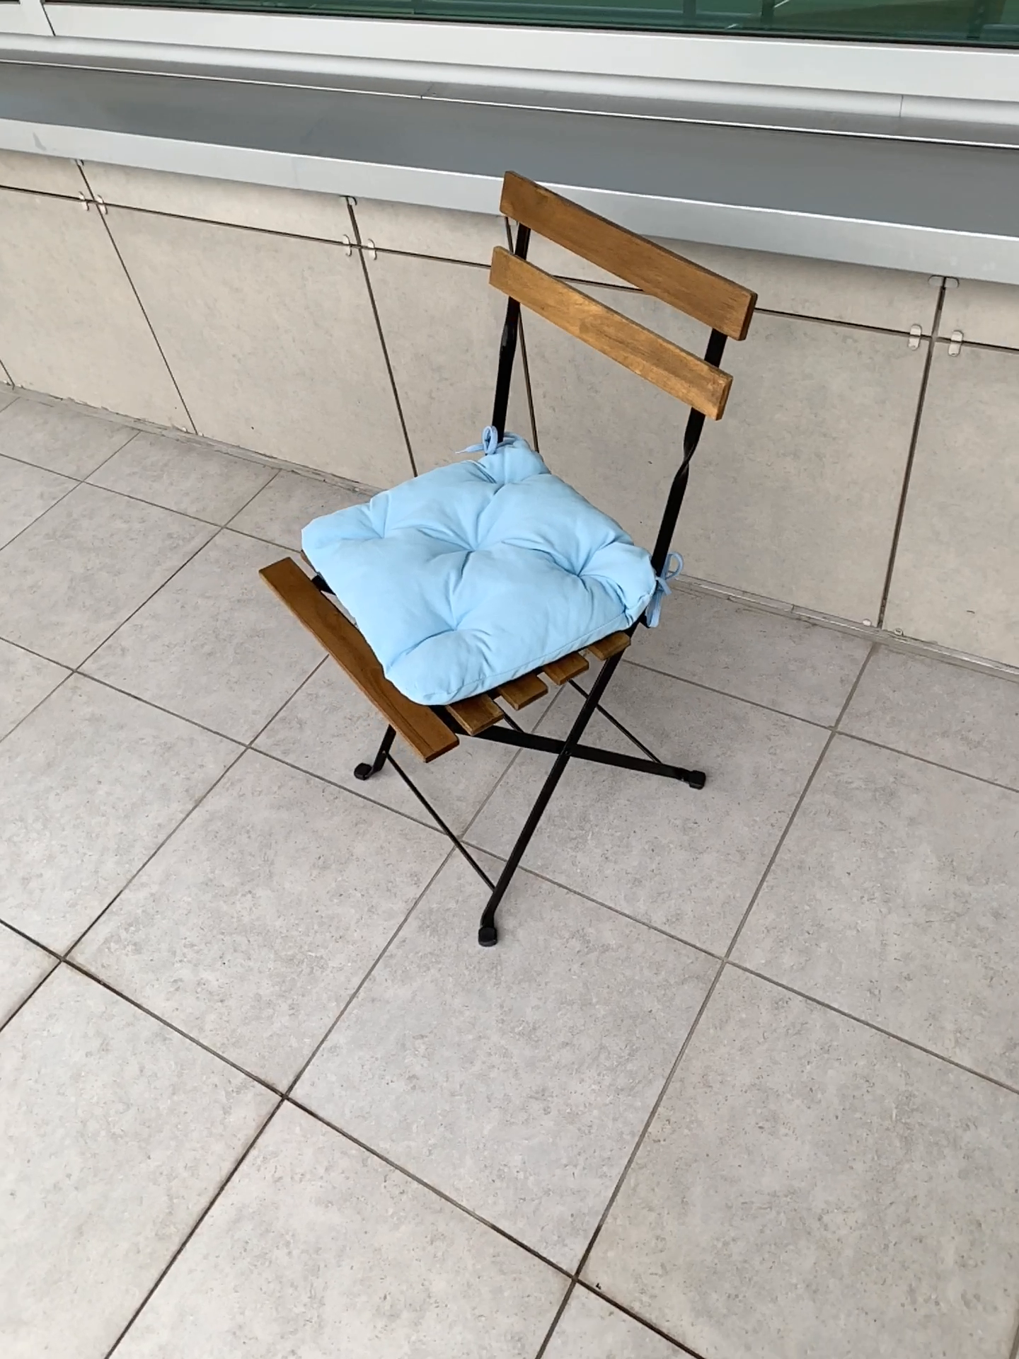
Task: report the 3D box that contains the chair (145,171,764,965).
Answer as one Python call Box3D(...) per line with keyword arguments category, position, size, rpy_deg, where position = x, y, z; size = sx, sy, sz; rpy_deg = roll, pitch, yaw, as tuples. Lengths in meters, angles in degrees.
Box3D(category="chair", position=(-0.020, -0.107, 1.275), size=(0.452, 0.749, 0.419), rpy_deg=(-31, 50, -17))
